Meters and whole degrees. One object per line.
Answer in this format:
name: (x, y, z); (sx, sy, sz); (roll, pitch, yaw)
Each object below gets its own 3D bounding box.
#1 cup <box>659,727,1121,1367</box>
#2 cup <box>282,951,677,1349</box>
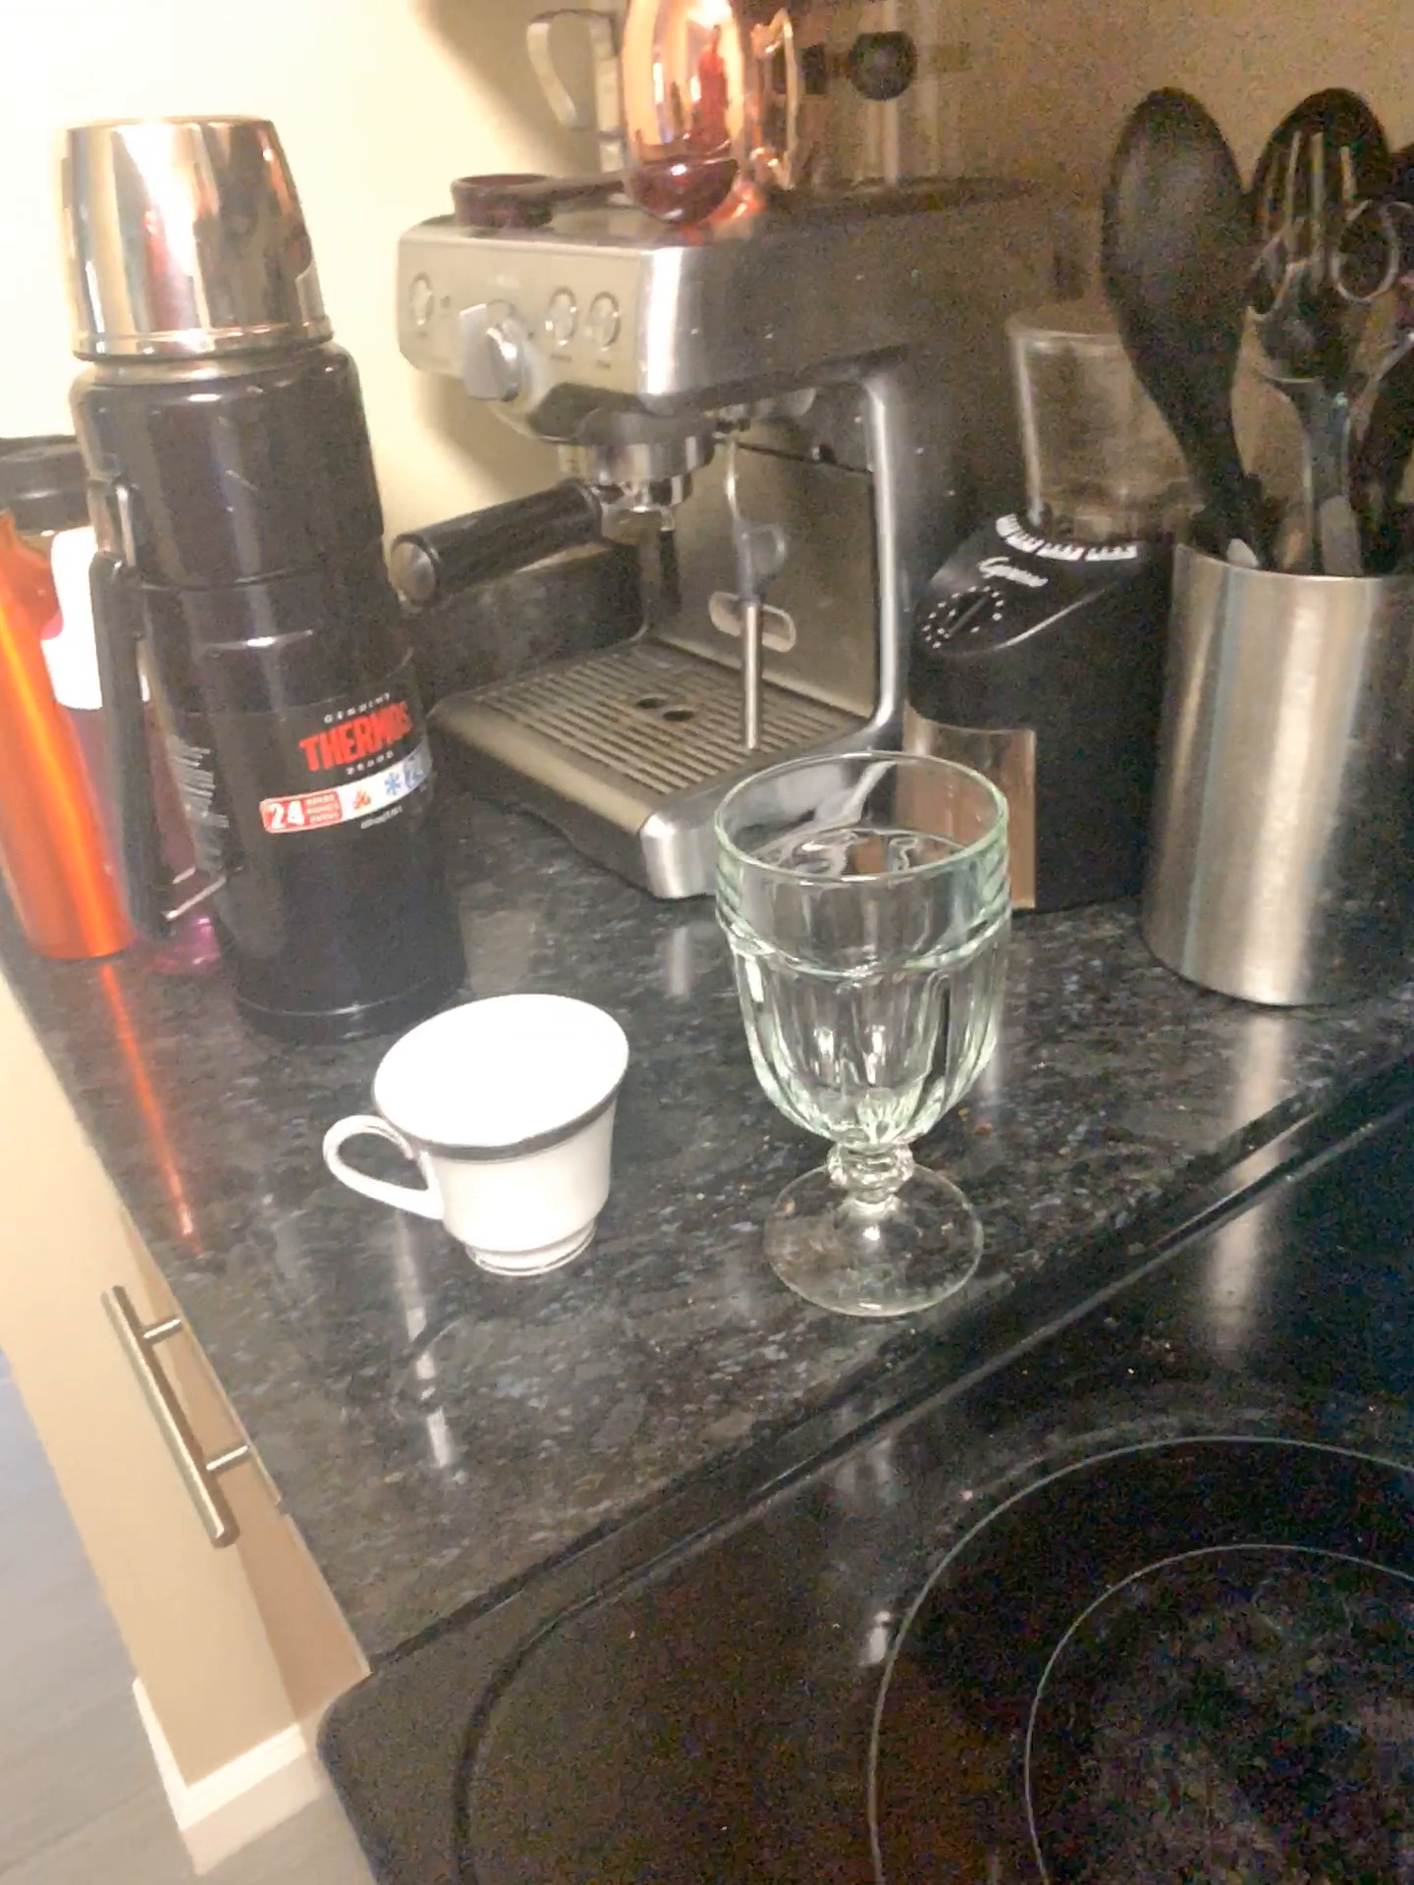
cup: (0.059, 0.033, 0.501); (0.110, 0.169, 0.101); (-3, 30, 2)
cup: (-0.083, 0.069, 0.524); (0.110, 0.070, 0.101); (-3, 30, 2)
